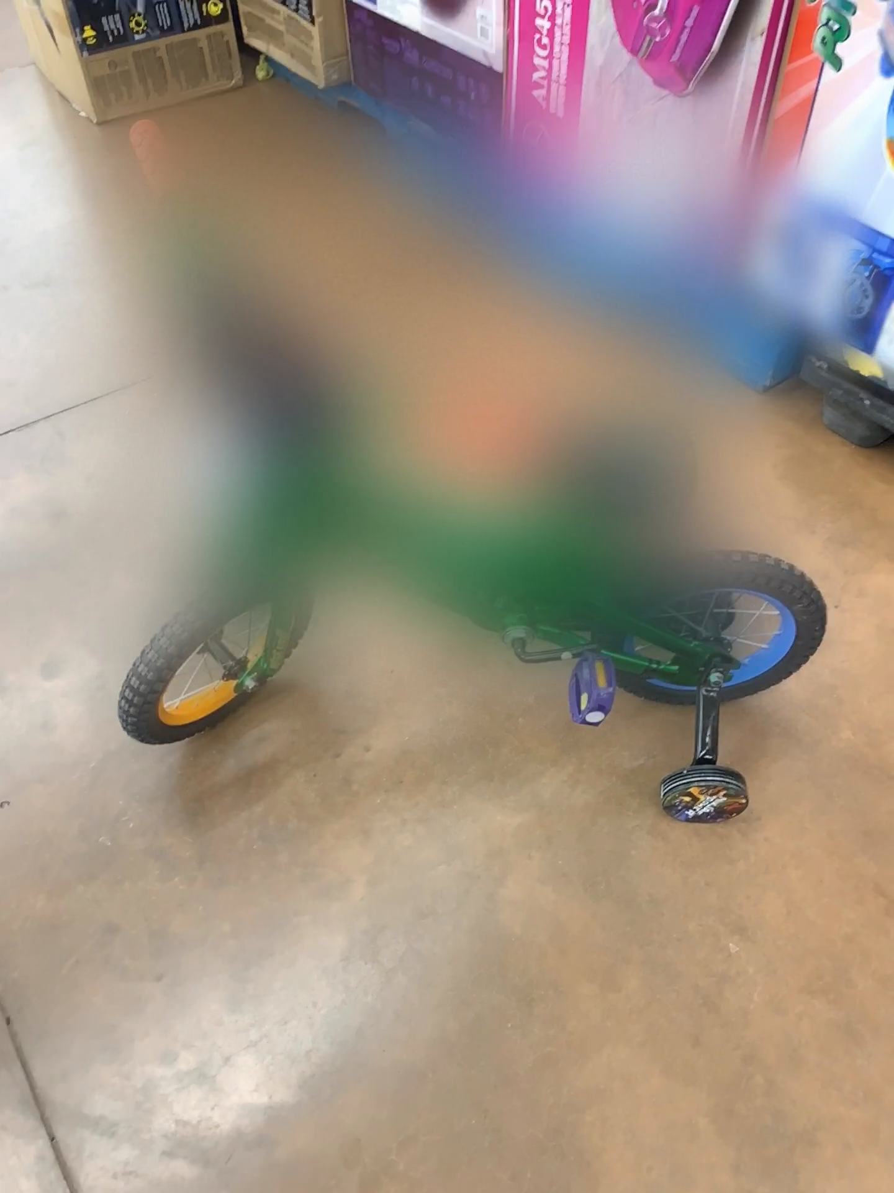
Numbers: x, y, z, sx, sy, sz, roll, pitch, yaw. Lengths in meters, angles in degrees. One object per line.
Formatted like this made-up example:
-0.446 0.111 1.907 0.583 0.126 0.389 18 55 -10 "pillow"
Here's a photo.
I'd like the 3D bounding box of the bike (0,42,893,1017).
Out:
0.068 -0.039 0.896 0.850 0.732 0.491 -6 49 -8 "bike"
